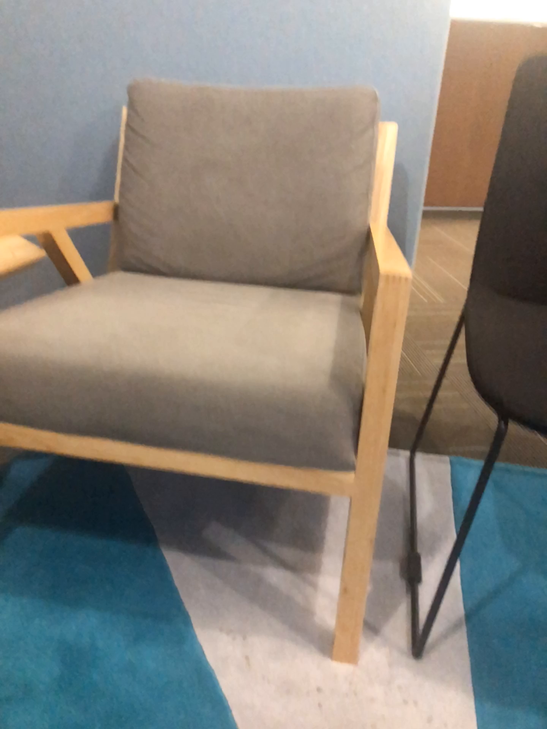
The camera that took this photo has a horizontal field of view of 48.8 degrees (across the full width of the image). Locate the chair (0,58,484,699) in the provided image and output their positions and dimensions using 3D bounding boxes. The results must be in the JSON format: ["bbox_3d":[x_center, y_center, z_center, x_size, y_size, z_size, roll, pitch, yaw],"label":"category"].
[{"bbox_3d":[-0.118,-0.106,1.075,0.710,0.744,0.847,6,26,8],"label":"chair"}]
